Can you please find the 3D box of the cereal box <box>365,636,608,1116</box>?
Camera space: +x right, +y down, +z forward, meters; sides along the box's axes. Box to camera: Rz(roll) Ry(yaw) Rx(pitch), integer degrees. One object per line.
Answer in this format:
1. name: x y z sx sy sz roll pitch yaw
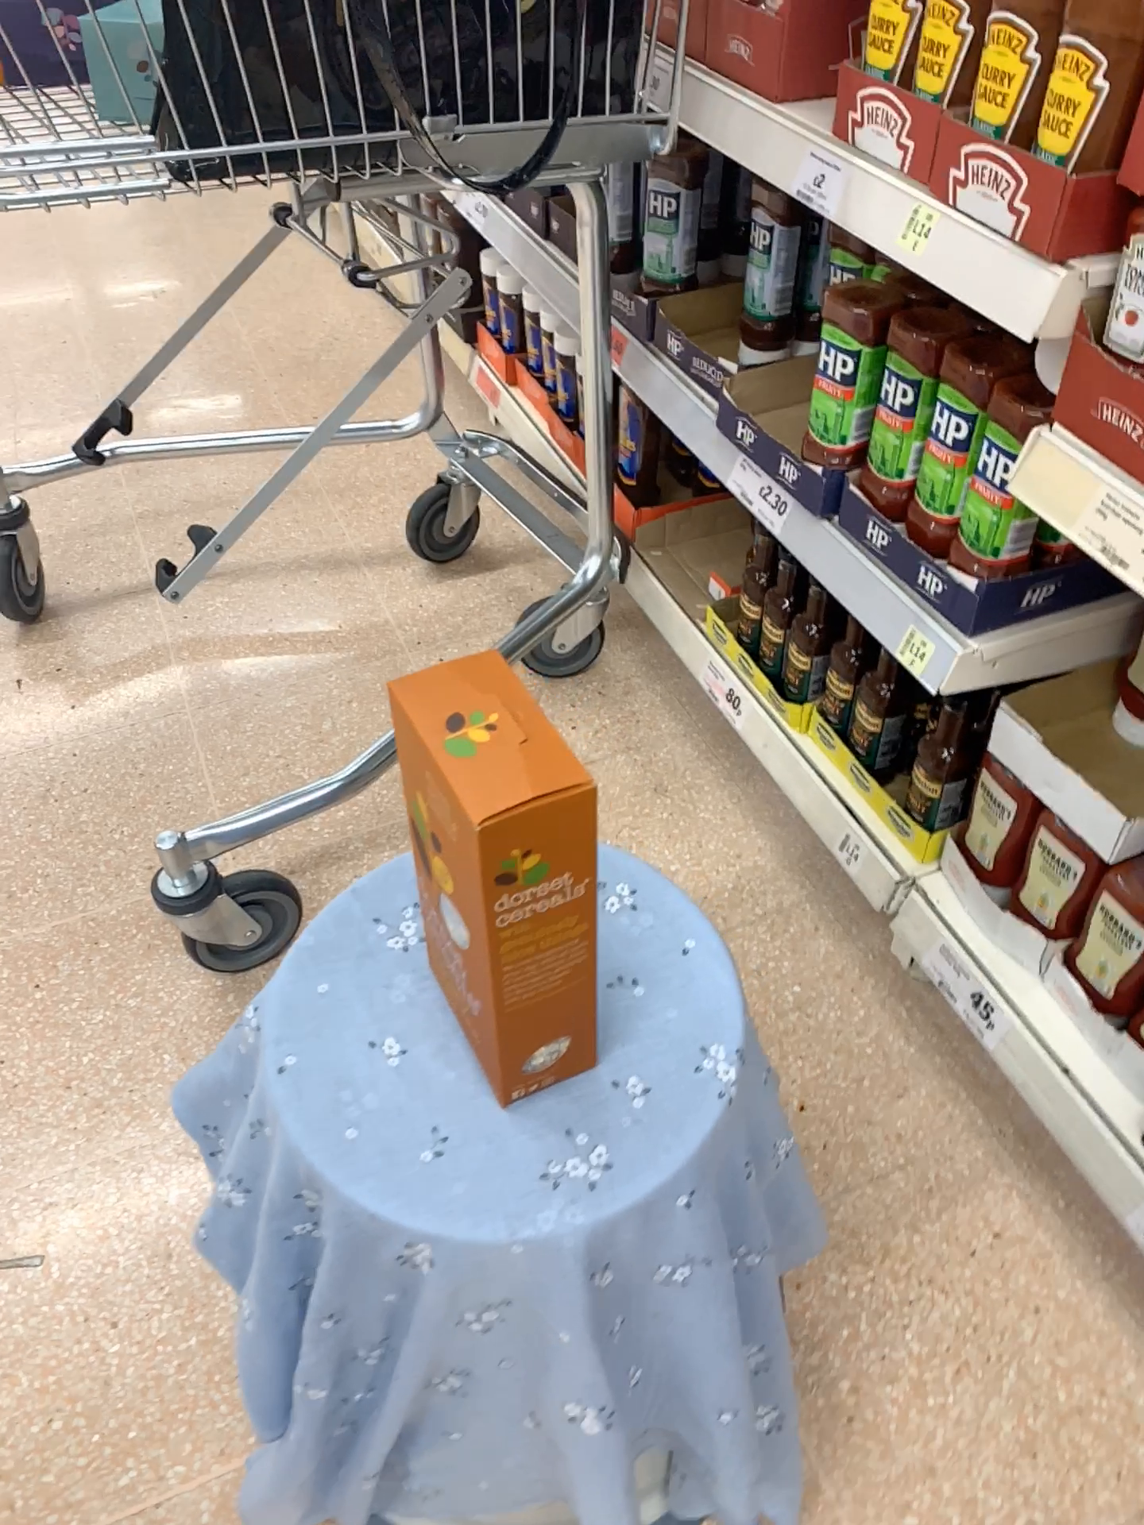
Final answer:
1. cereal box: -0.042 0.066 0.622 0.070 0.228 0.121 -20 47 -19
